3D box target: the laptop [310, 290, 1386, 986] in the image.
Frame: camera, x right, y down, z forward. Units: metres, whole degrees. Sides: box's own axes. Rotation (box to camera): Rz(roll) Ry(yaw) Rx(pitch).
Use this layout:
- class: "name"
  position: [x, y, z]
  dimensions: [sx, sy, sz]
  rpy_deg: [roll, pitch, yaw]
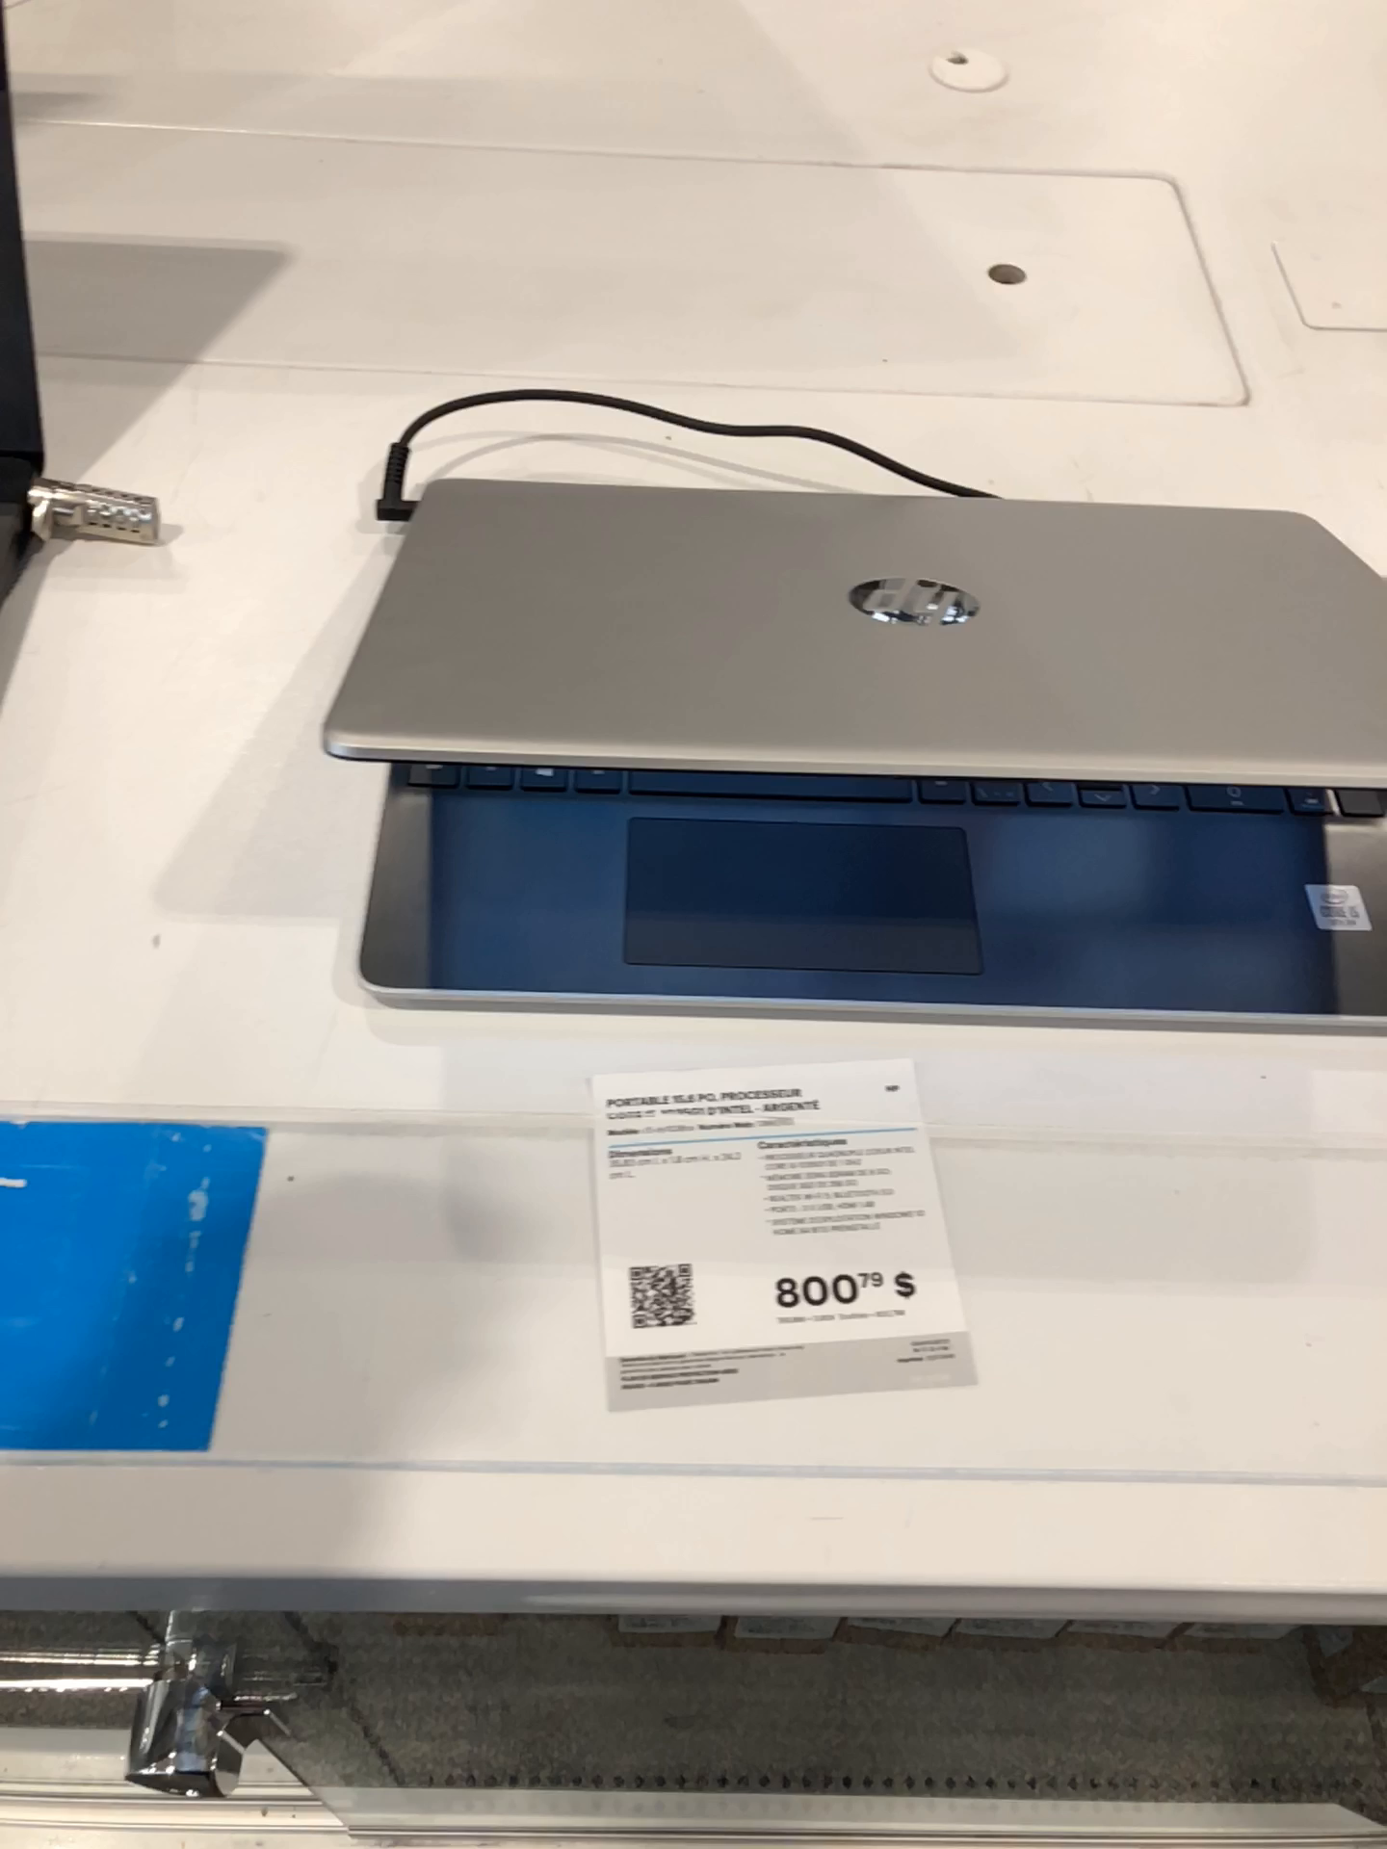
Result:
- class: "laptop"
  position: [0.068, -0.103, 0.508]
  dimensions: [0.341, 0.086, 0.229]
  rpy_deg: [2, 53, 0]
